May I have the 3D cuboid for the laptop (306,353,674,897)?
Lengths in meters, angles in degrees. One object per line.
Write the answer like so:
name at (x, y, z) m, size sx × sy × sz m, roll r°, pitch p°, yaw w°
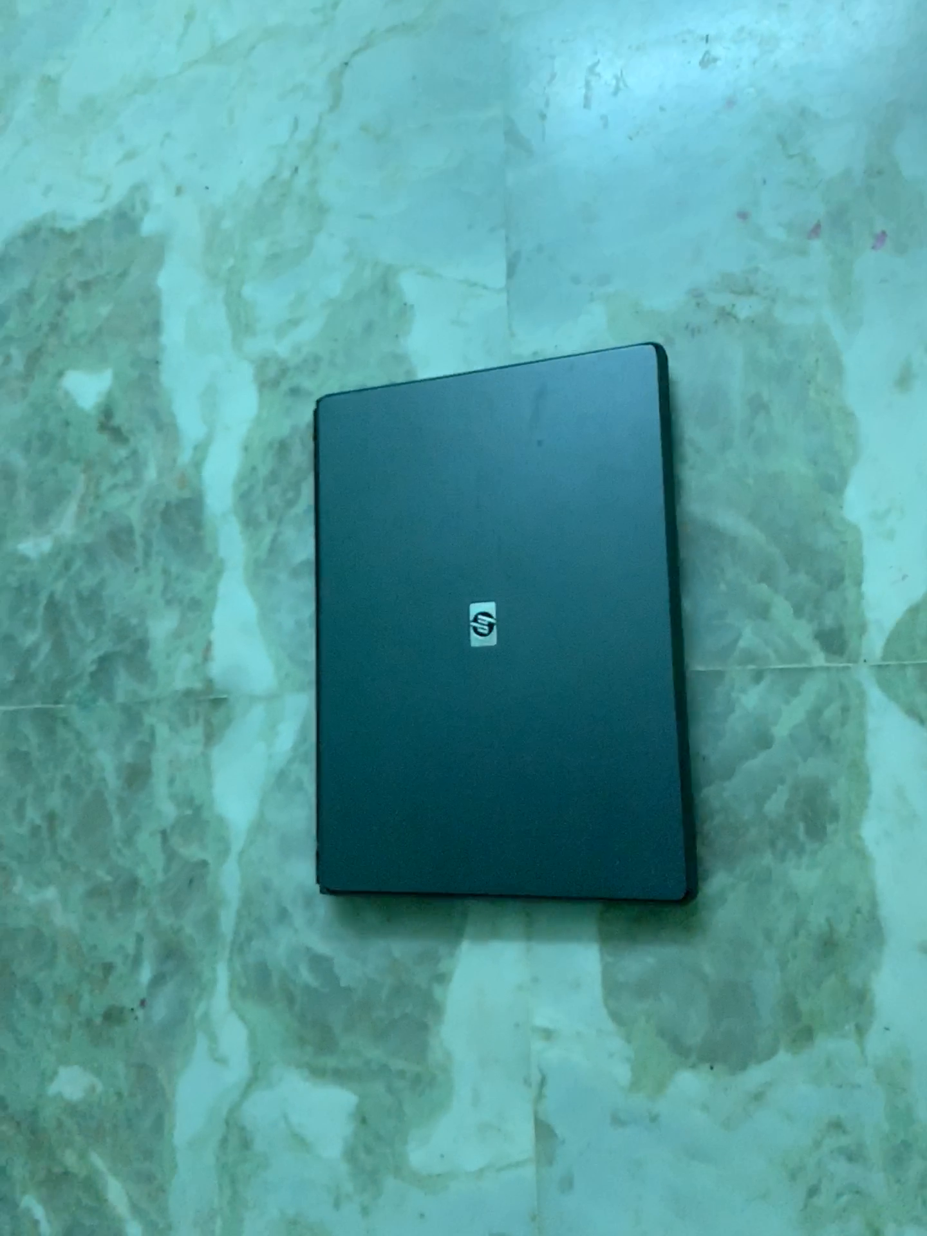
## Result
laptop at (0.005, 0.006, 0.583) m, size 0.227 × 0.001 × 0.310 m, roll -4°, pitch 83°, yaw 21°
